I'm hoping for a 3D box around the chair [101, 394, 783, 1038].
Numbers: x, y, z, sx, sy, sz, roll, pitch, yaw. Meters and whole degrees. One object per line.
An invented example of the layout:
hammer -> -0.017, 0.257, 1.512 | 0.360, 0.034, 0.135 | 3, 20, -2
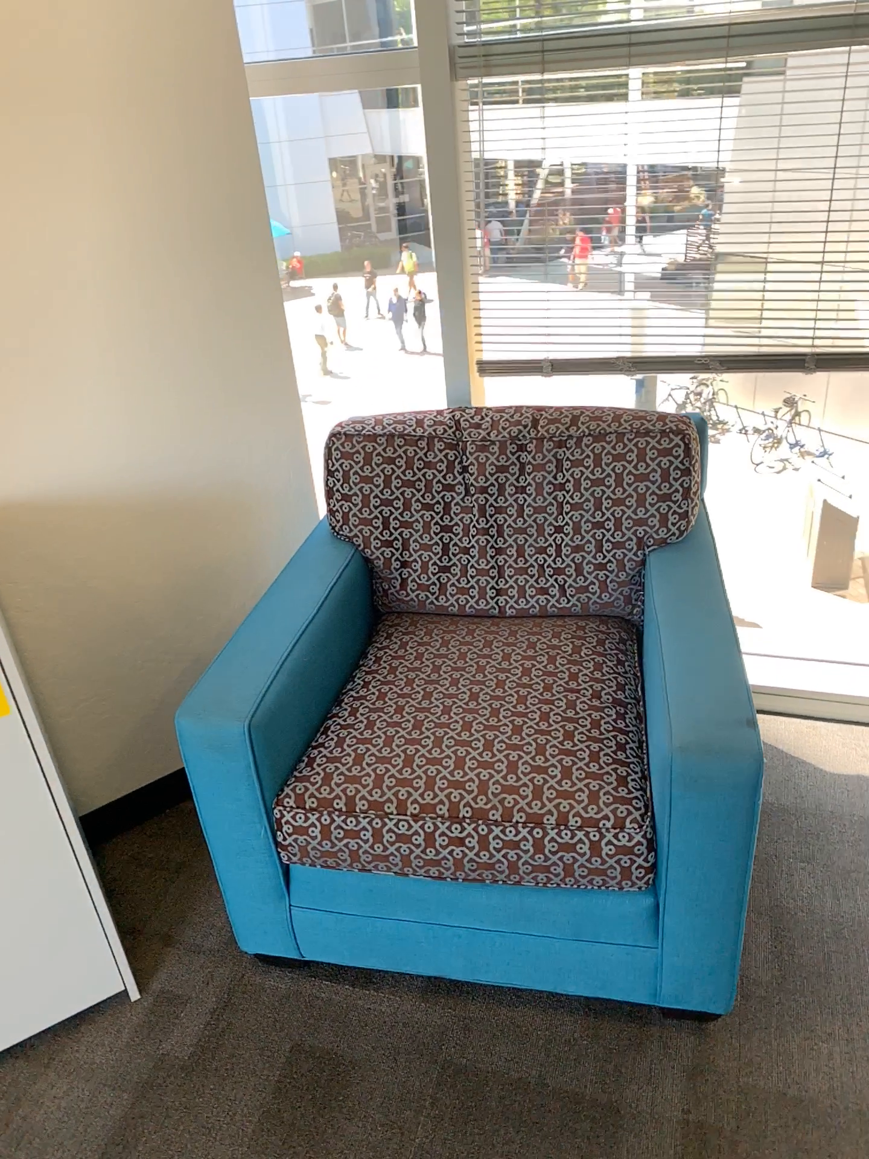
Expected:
chair -> 0.090, 0.179, 1.771 | 0.931, 0.805, 0.915 | 1, 31, 12
